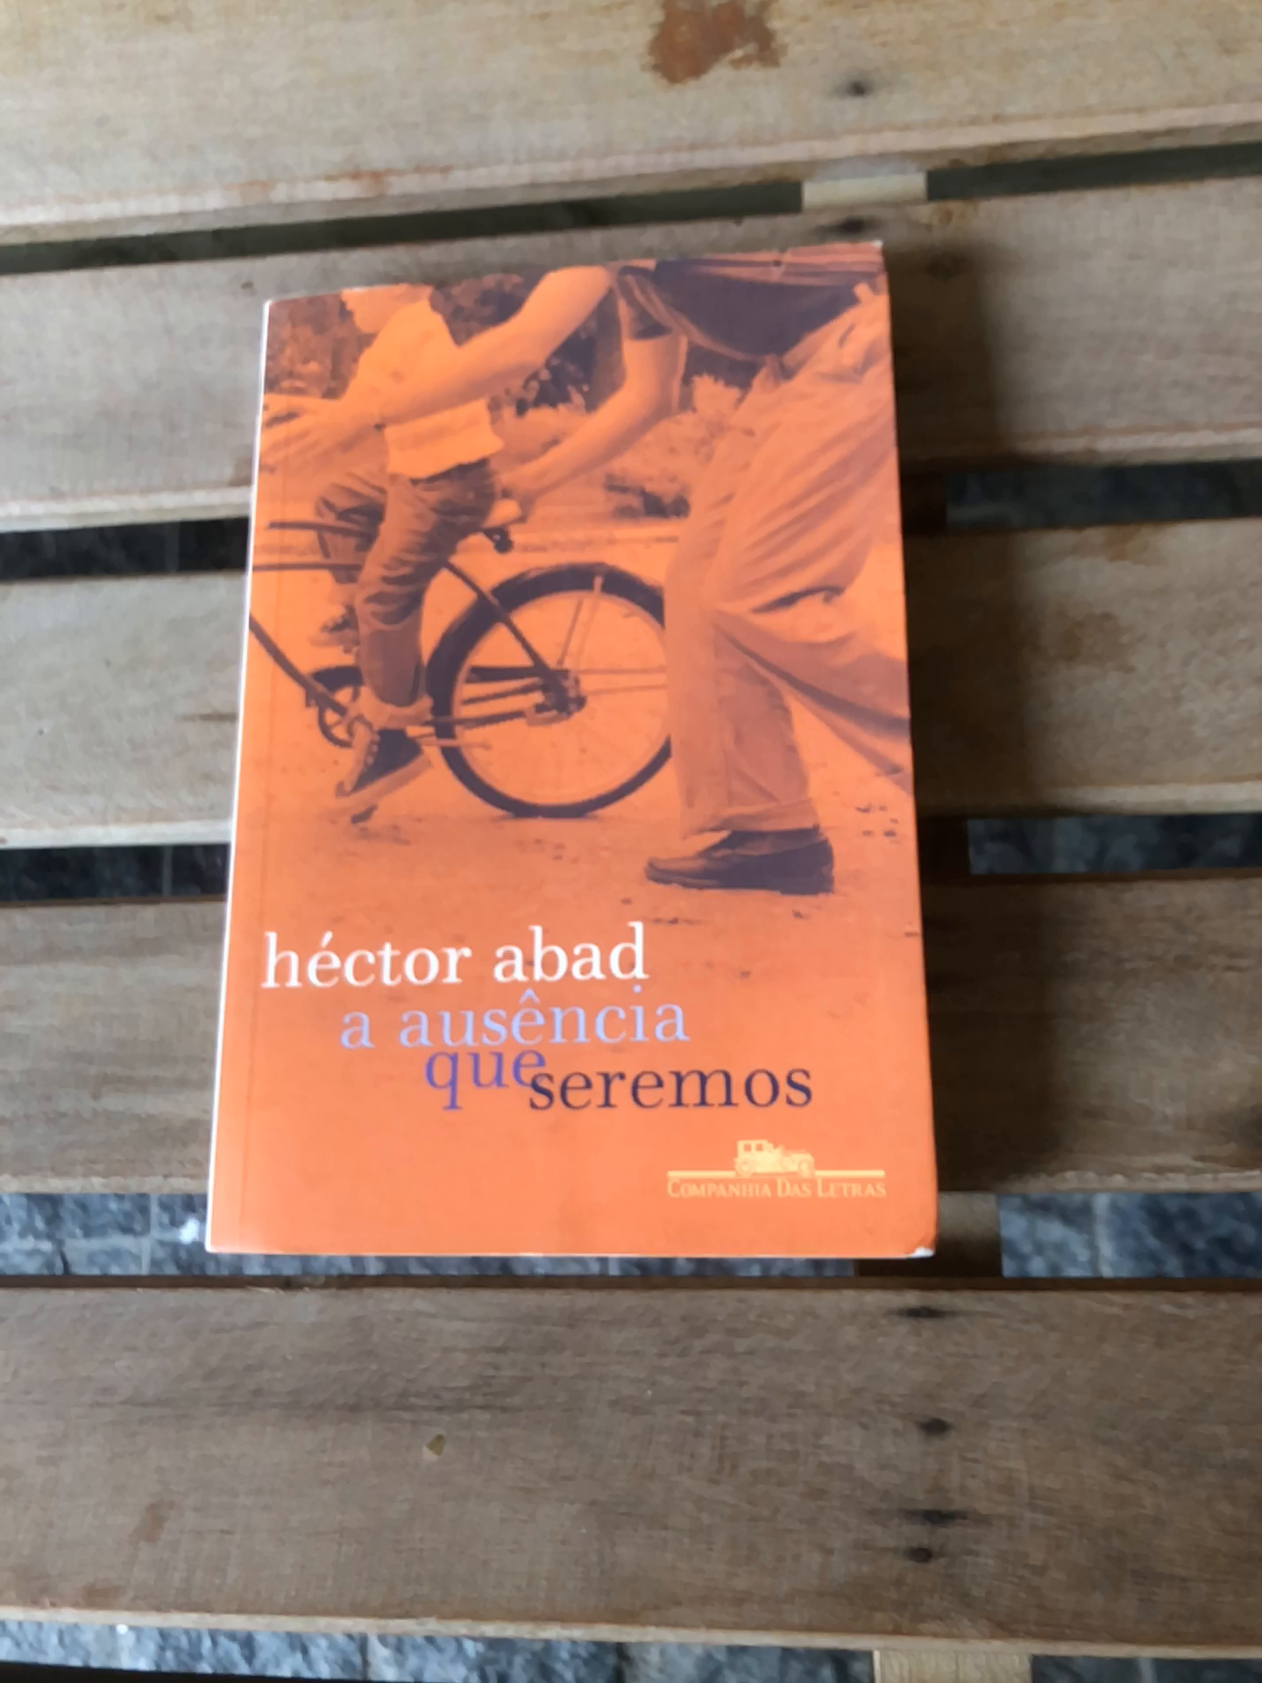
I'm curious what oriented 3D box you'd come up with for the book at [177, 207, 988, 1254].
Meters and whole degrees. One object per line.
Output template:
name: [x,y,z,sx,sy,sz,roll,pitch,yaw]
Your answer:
book: [-0.010,-0.024,0.278,0.142,0.020,0.200,-2,76,8]
